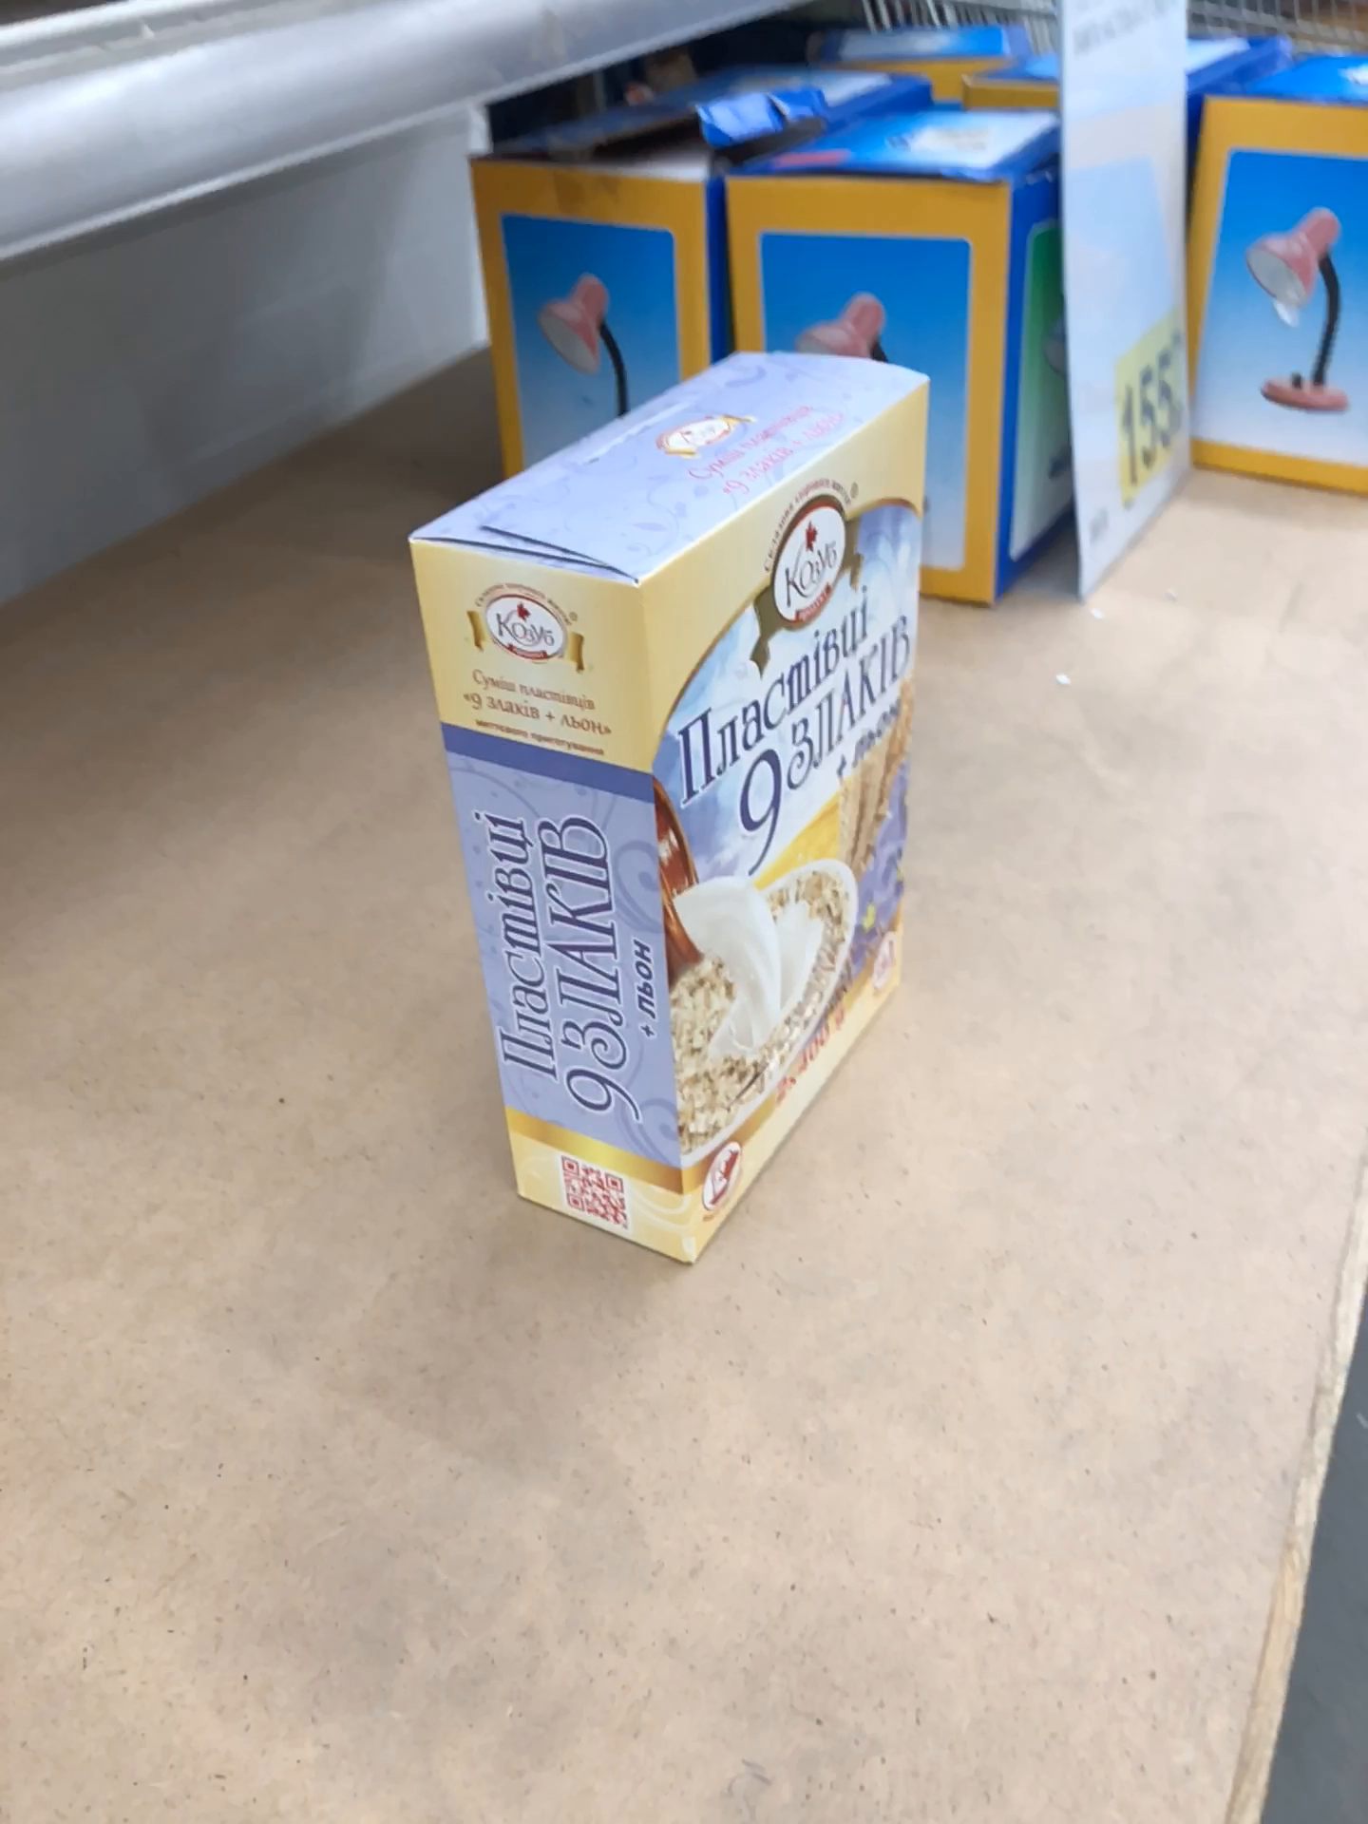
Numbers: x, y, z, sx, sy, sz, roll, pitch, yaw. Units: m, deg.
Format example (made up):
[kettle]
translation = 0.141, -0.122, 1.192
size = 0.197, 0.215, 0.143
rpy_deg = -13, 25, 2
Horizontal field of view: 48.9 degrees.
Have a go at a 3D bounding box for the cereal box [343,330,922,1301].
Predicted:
[cereal box]
translation = -0.003, -0.032, 0.475
size = 0.070, 0.238, 0.181
rpy_deg = 19, 41, 25
